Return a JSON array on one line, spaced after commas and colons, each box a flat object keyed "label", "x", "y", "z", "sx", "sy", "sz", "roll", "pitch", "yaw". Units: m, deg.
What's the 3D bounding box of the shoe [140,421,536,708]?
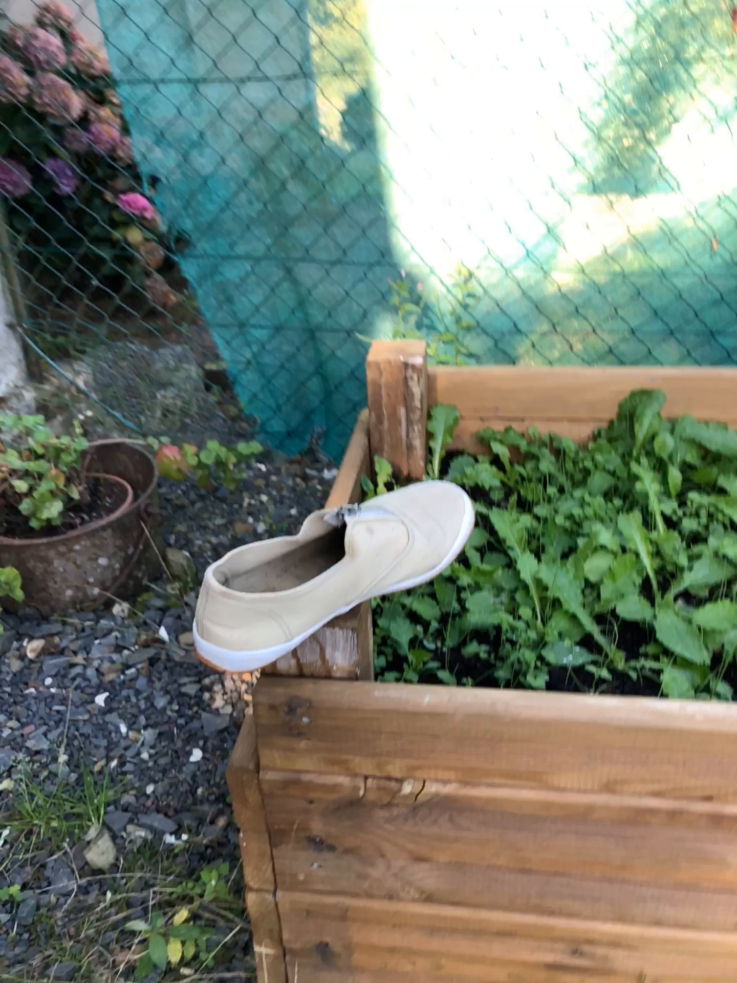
[{"label": "shoe", "x": -0.013, "y": 0.037, "z": 0.582, "sx": 0.261, "sy": 0.070, "sz": 0.110, "roll": -23, "pitch": 35, "yaw": -30}]
